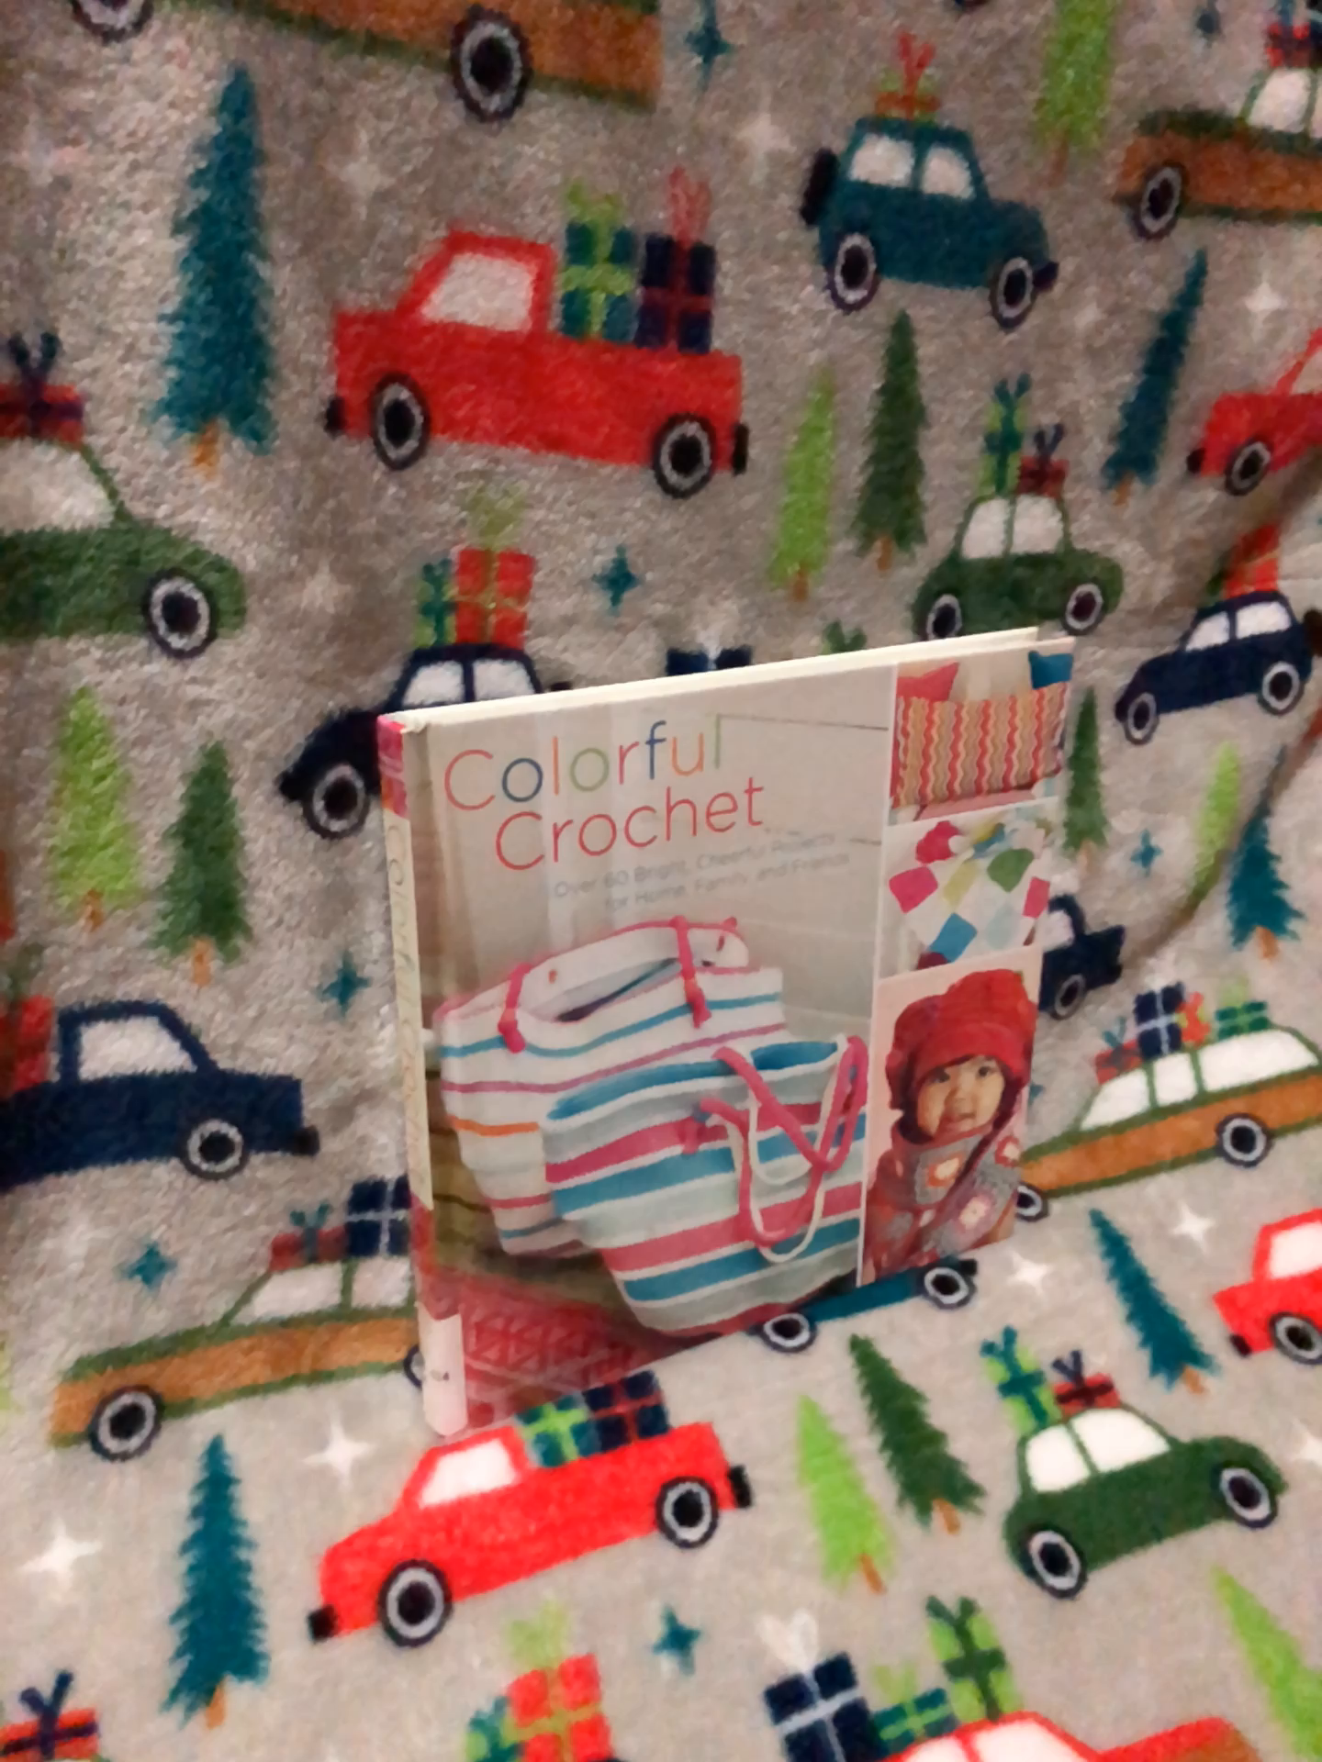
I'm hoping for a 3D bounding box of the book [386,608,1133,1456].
[{"bbox_3d":[0.025,0.040,0.401,0.202,0.214,0.020,-11,32,-28],"label":"book"}]
